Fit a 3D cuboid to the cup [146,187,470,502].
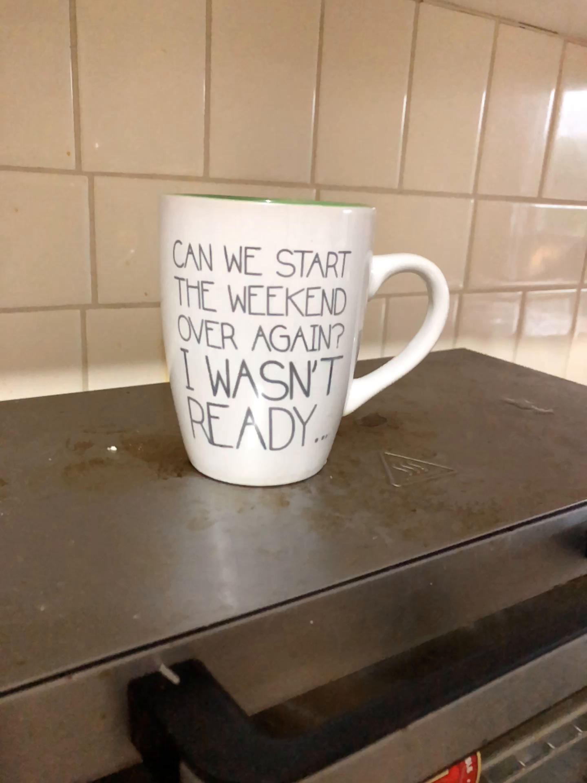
[{"bbox_3d":[-0.001,-0.022,0.267,0.110,0.110,0.070,0,16,-10],"label":"cup"}]
